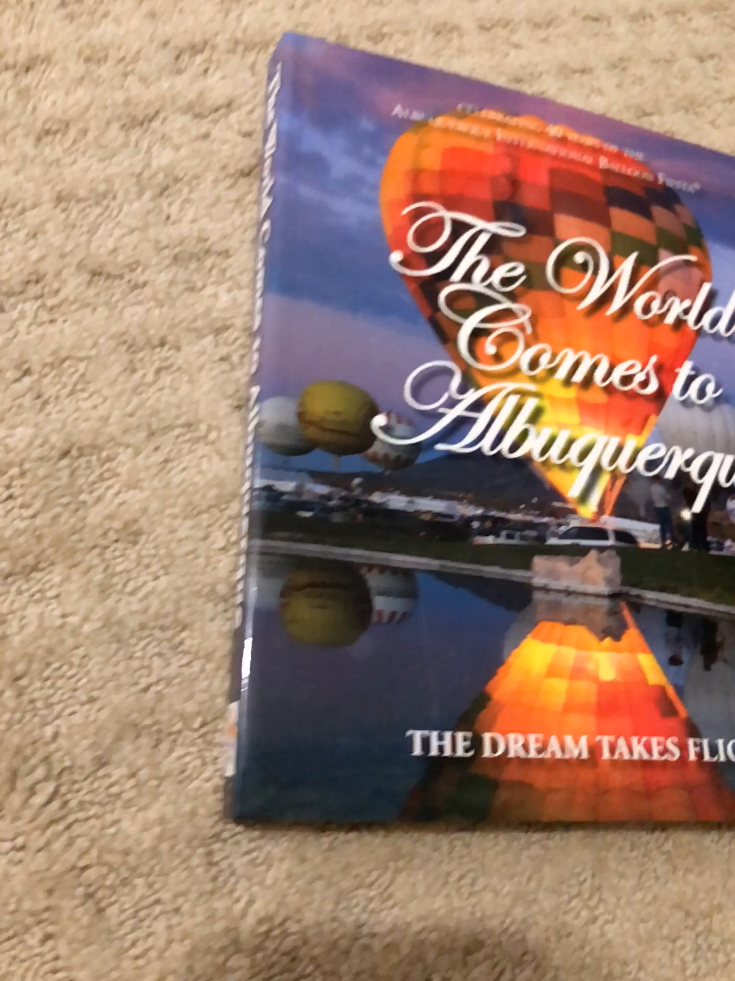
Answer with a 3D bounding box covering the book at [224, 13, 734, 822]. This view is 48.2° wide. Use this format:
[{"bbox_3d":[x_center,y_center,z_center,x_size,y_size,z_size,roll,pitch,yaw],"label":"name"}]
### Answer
[{"bbox_3d":[0.065,-0.029,0.275,0.204,0.023,0.258,7,68,-16],"label":"book"}]
